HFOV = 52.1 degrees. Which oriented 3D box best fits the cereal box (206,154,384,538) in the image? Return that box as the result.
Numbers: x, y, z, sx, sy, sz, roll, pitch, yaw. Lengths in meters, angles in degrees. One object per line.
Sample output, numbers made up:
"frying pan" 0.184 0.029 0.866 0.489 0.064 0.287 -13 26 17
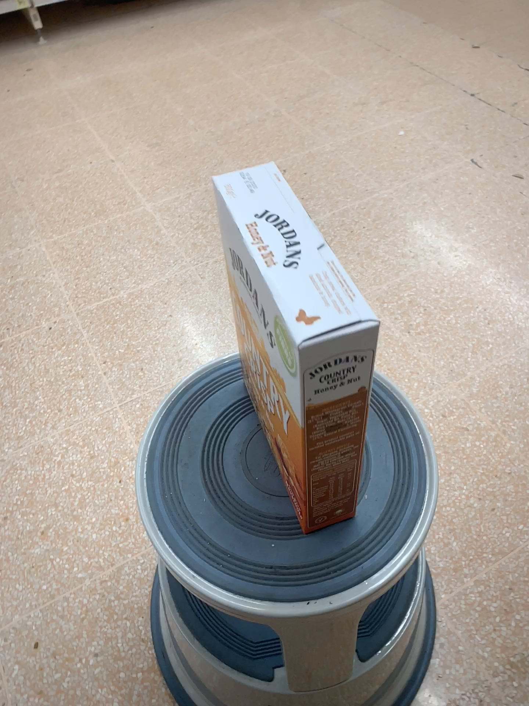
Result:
"cereal box" 0.017 0.007 0.437 0.050 0.258 0.181 -16 51 -10
